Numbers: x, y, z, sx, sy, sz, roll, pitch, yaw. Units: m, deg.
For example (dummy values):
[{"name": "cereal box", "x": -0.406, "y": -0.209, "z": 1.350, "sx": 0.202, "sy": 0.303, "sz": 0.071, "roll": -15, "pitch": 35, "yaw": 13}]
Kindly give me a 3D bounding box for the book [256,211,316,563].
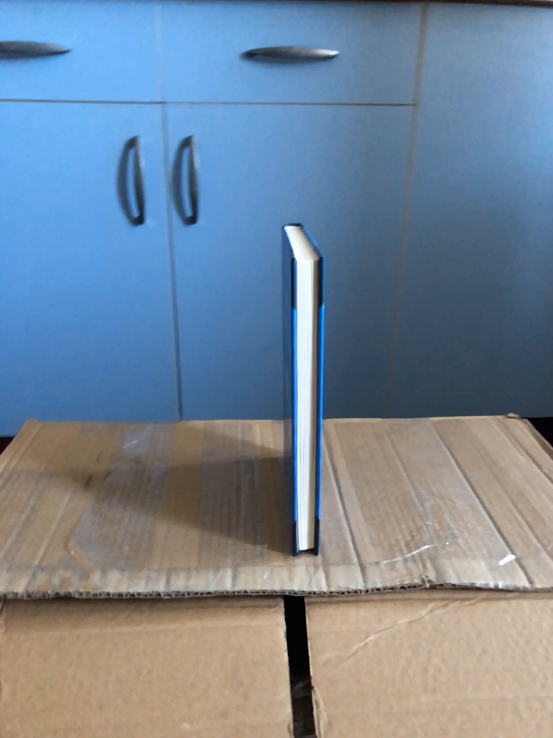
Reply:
[{"name": "book", "x": 0.002, "y": 0.004, "z": 0.417, "sx": 0.030, "sy": 0.199, "sz": 0.144, "roll": 0, "pitch": 22, "yaw": -2}]
